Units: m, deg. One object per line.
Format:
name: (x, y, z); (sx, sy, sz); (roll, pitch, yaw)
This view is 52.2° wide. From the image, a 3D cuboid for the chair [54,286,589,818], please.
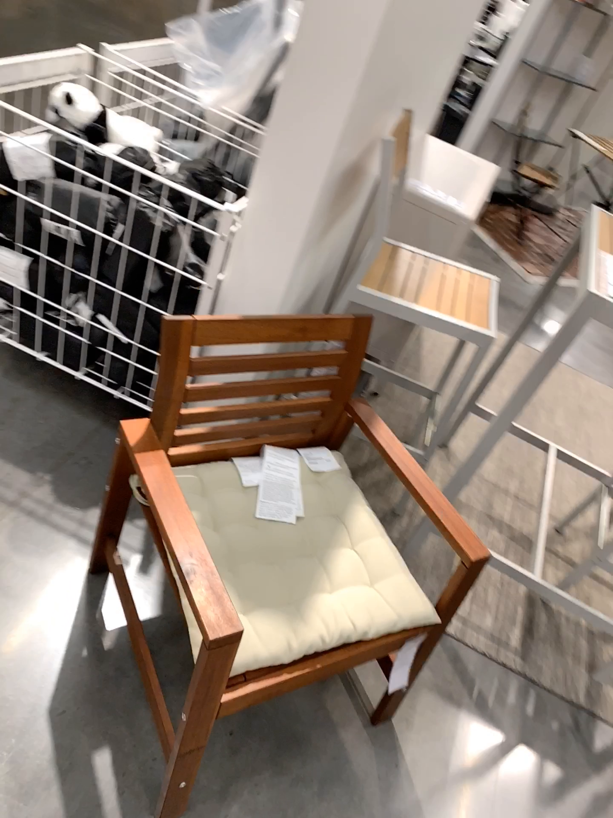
chair: (-0.071, 0.252, 1.297); (0.652, 0.707, 0.722); (-7, 48, -34)
